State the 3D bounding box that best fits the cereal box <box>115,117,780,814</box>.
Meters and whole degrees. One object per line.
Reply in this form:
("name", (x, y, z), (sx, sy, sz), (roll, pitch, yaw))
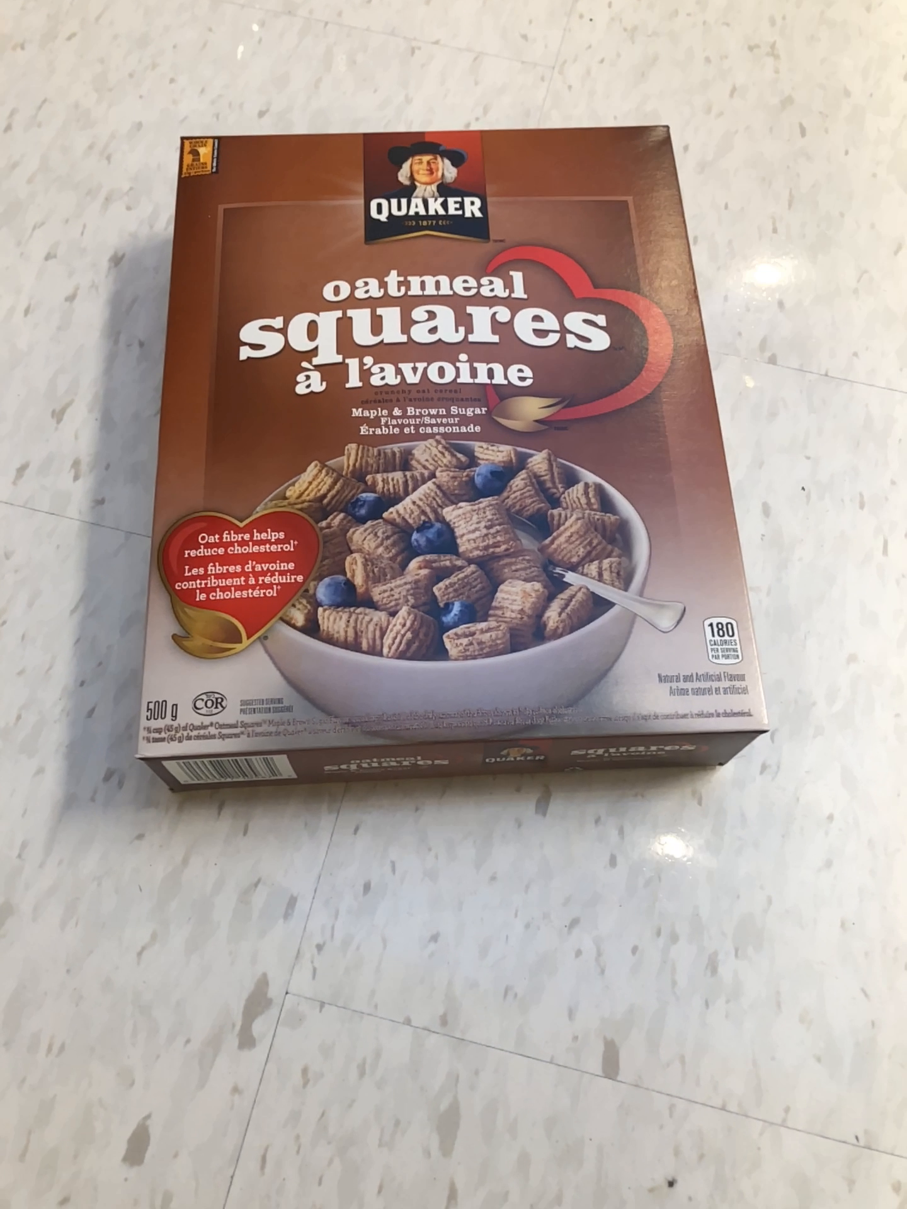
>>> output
("cereal box", (-0.008, -0.063, 0.398), (0.210, 0.070, 0.271), (-2, 68, -2))
